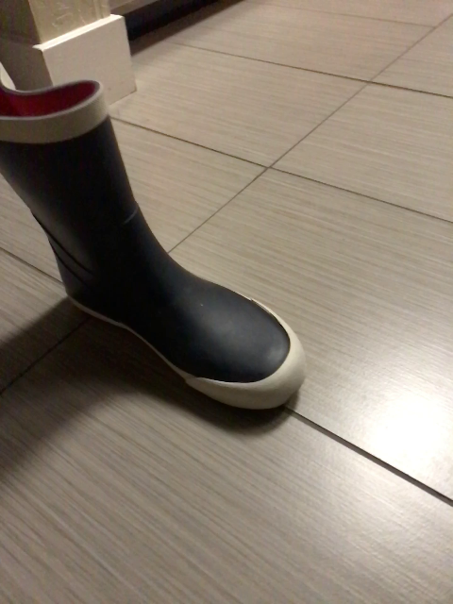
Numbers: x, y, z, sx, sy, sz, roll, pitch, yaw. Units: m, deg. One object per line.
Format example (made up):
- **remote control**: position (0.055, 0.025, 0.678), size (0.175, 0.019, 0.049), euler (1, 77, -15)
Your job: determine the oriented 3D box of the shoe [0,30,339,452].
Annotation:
- **shoe**: position (-0.076, -0.048, 0.361), size (0.279, 0.216, 0.103), euler (23, 55, 26)
